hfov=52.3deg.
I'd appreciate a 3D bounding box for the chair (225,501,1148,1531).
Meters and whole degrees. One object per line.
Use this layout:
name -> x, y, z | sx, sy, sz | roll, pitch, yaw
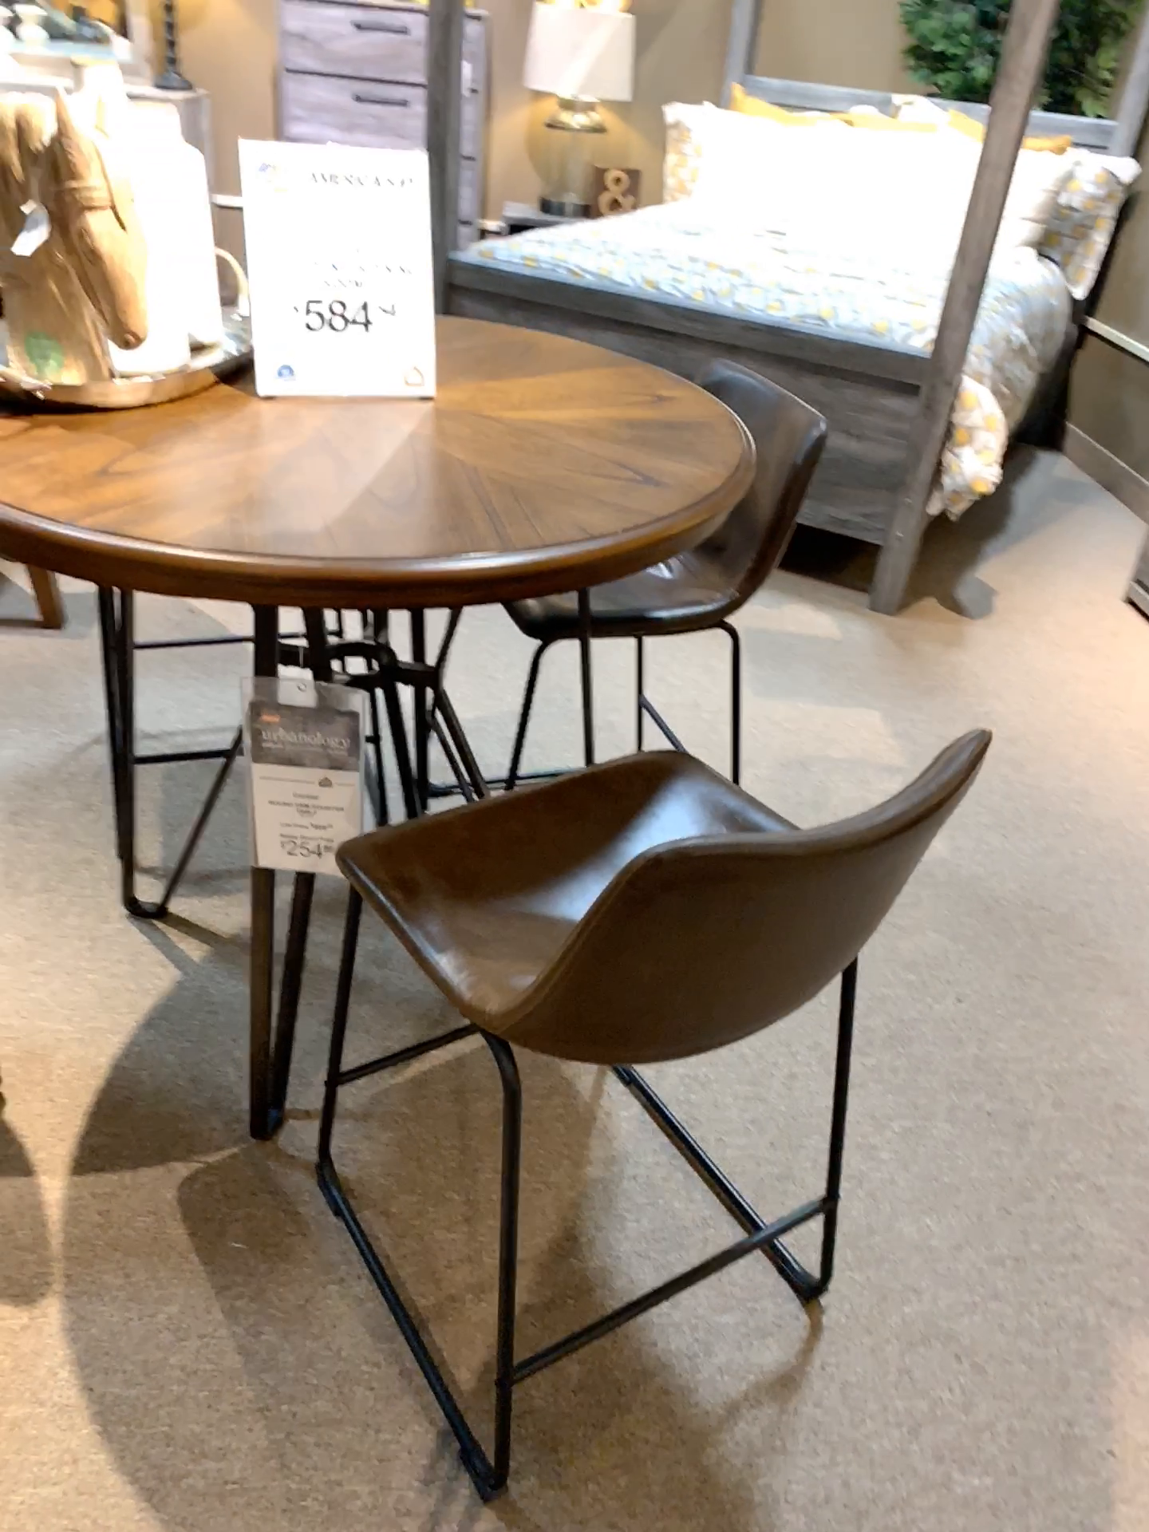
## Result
chair -> 0.050, 0.241, 1.244 | 0.601, 0.806, 0.582 | -15, 38, -29
